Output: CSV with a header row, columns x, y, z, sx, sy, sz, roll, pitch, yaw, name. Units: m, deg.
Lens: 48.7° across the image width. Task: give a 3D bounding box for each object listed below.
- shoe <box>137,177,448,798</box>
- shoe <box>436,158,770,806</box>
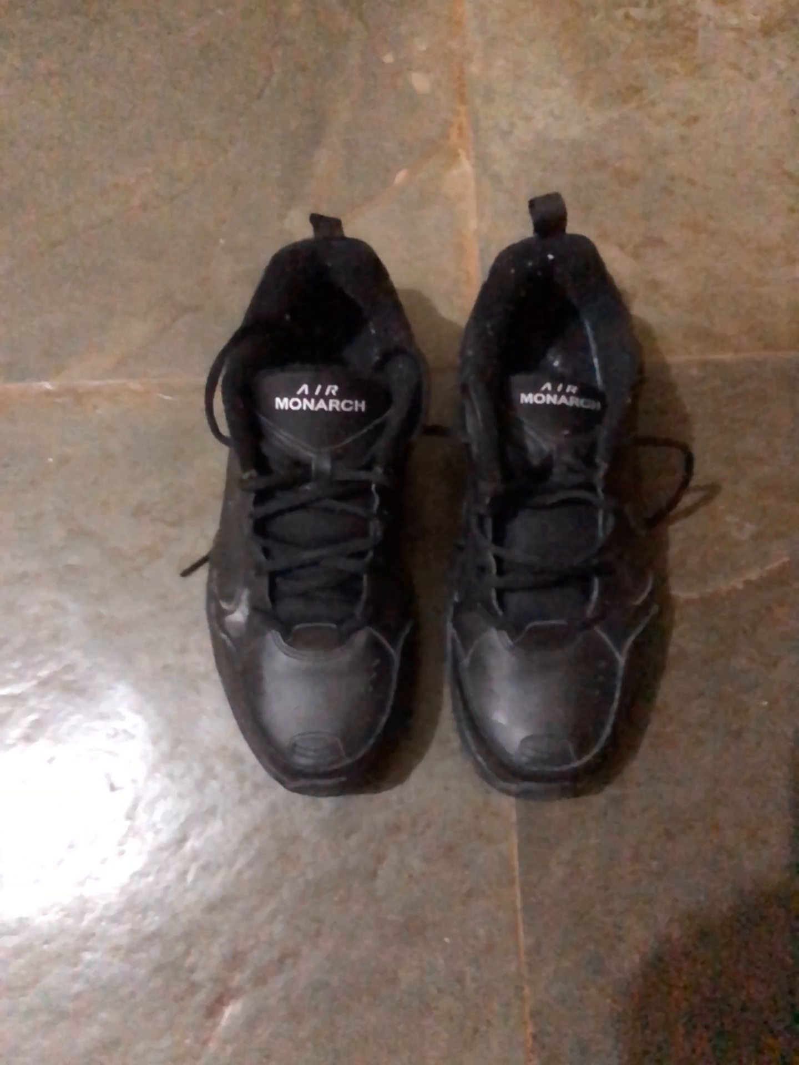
x,y,z,sx,sy,sz,roll,pitch,yaw,name
-0.045,-0.018,0.433,0.120,0.110,0.281,-2,73,0,shoe
0.083,-0.023,0.440,0.120,0.110,0.301,-1,73,0,shoe
